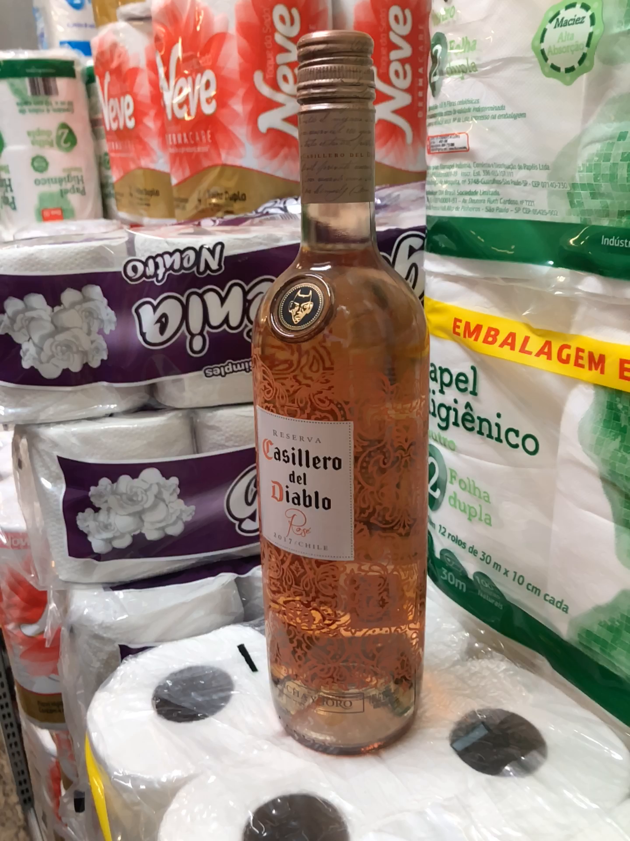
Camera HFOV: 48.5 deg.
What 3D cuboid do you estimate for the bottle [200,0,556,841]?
[{"bbox_3d":[0.030,0.013,0.282,0.090,0.308,0.080,11,23,39],"label":"bottle"}]
